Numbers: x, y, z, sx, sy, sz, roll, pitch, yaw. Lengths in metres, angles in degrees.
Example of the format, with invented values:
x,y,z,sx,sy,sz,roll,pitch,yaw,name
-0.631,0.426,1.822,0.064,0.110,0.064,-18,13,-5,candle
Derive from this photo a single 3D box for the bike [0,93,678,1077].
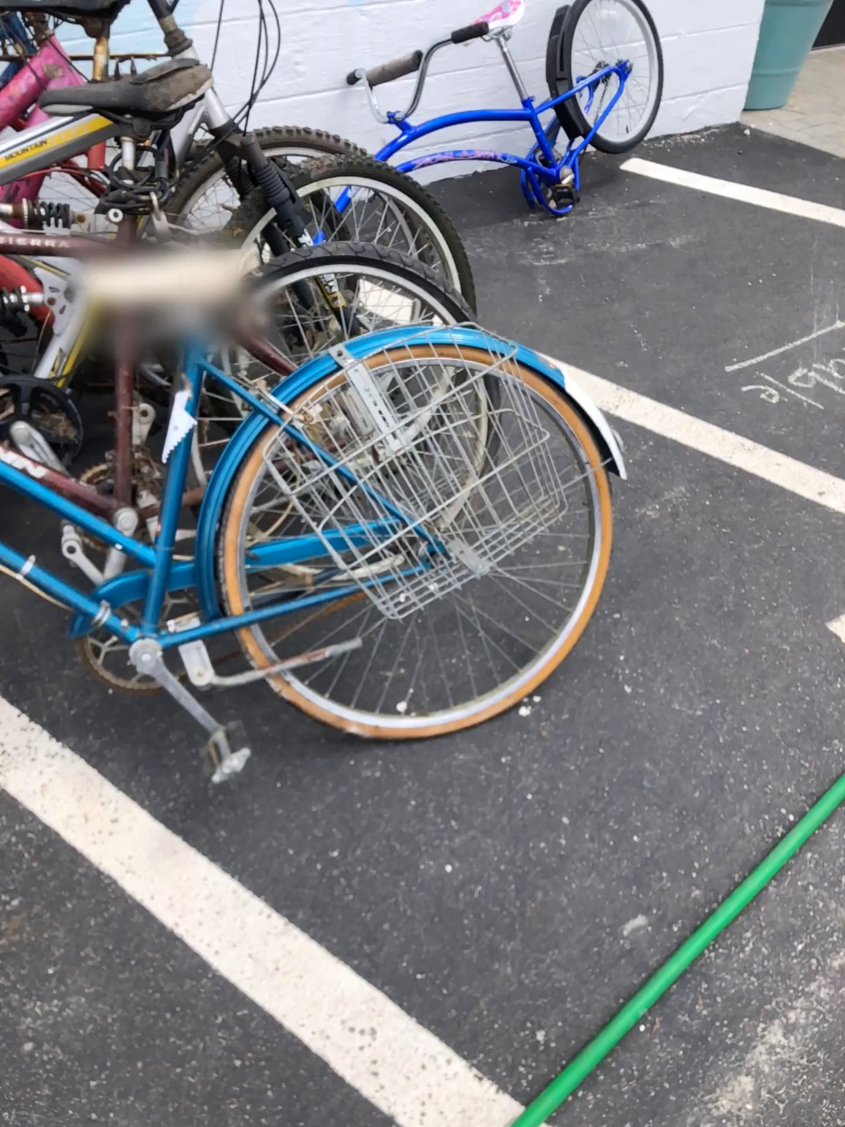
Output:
x,y,z,sx,sy,sz,roll,pitch,yaw,name
-0.465,-0.064,1.178,1.483,0.761,0.477,-14,42,-18,bike
